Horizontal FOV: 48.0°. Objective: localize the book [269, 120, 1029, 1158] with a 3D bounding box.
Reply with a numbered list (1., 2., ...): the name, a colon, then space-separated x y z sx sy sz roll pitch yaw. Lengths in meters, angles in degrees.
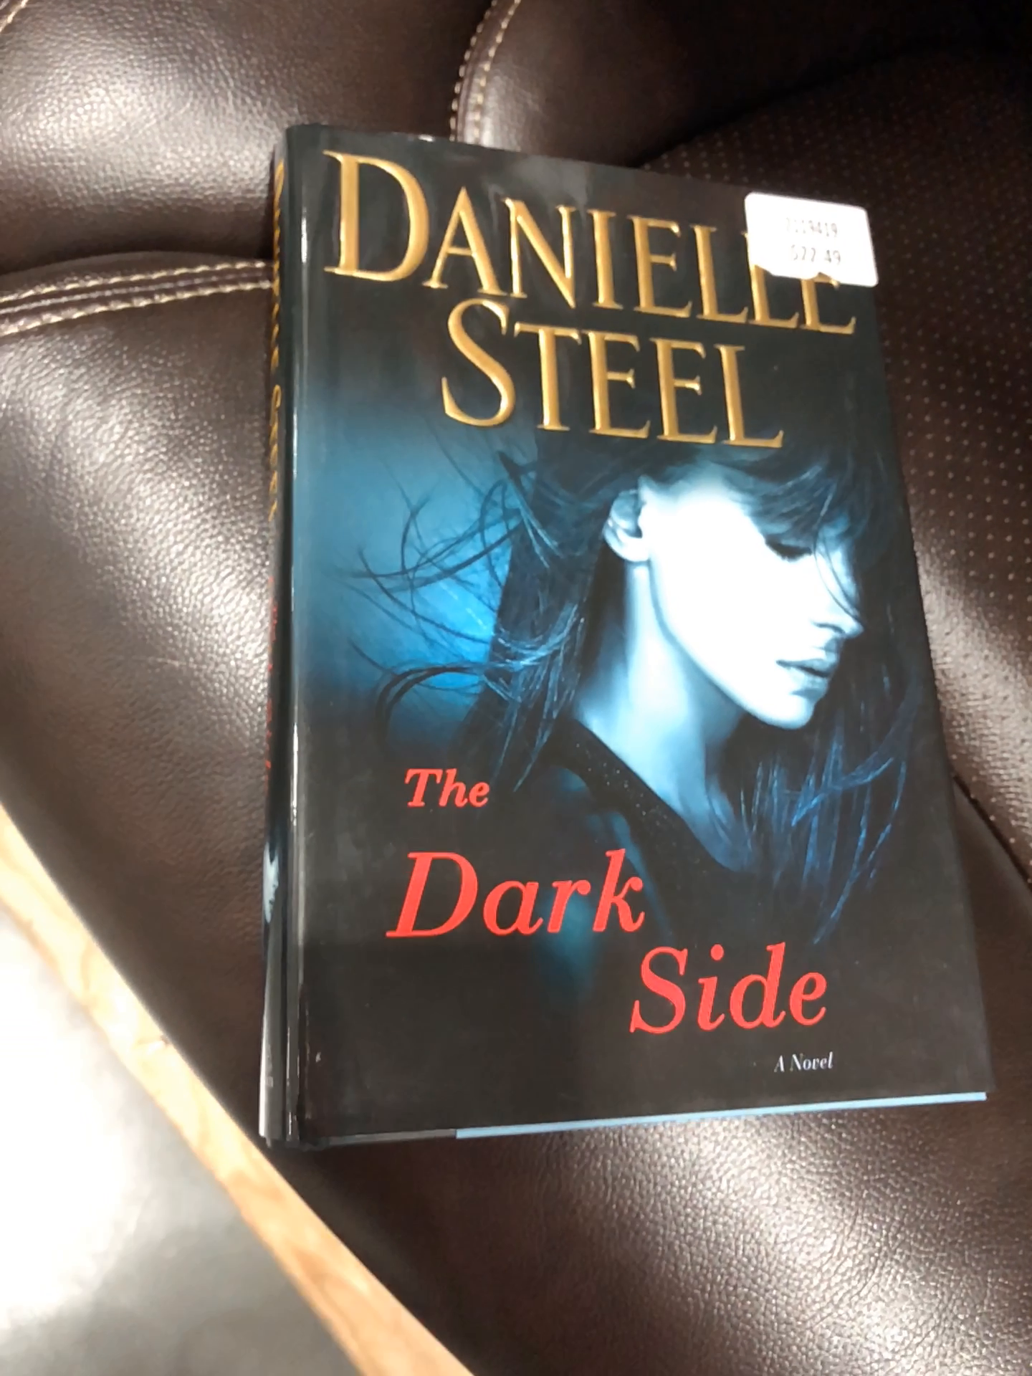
1. book: 0.026 -0.017 0.292 0.168 0.040 0.237 1 75 -15
